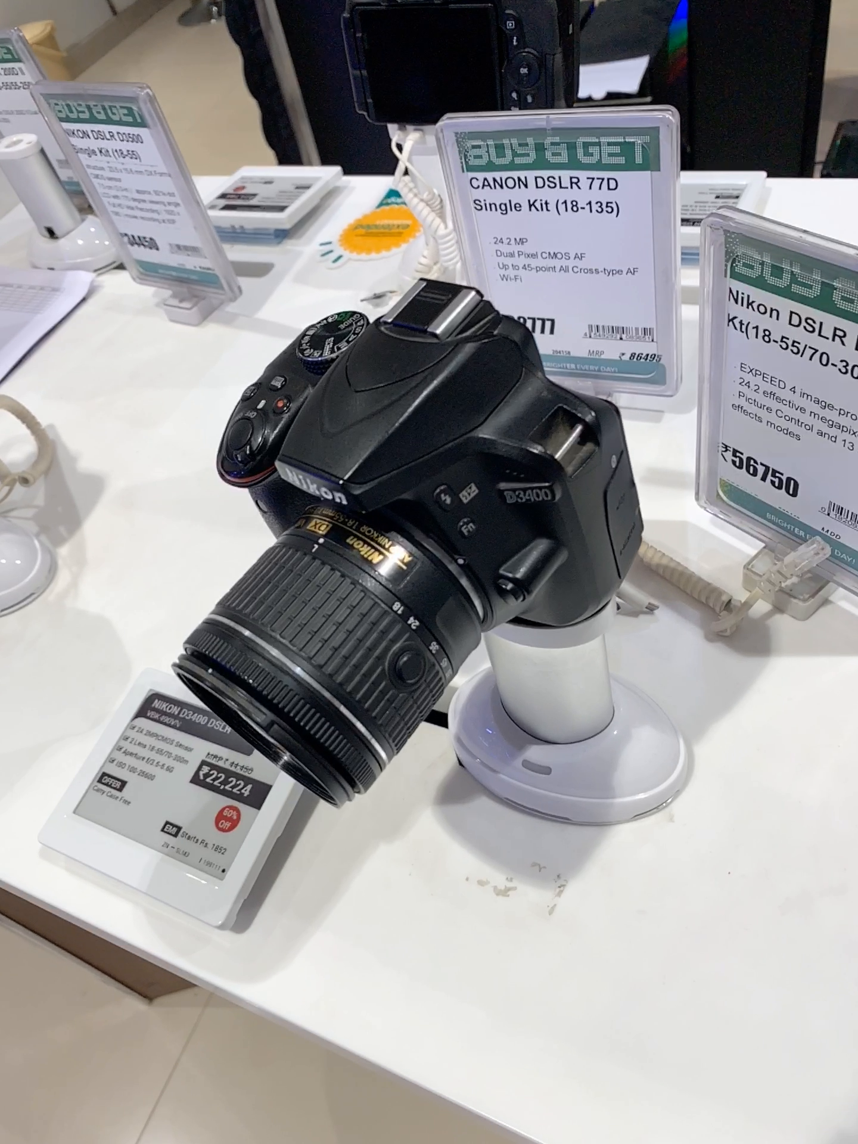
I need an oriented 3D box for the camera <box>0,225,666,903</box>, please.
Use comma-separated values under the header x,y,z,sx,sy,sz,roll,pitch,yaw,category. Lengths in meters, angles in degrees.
x,y,z,sx,sy,sz,roll,pitch,yaw,category
-0.024,-0.012,0.228,0.120,0.080,0.120,24,61,32,camera
